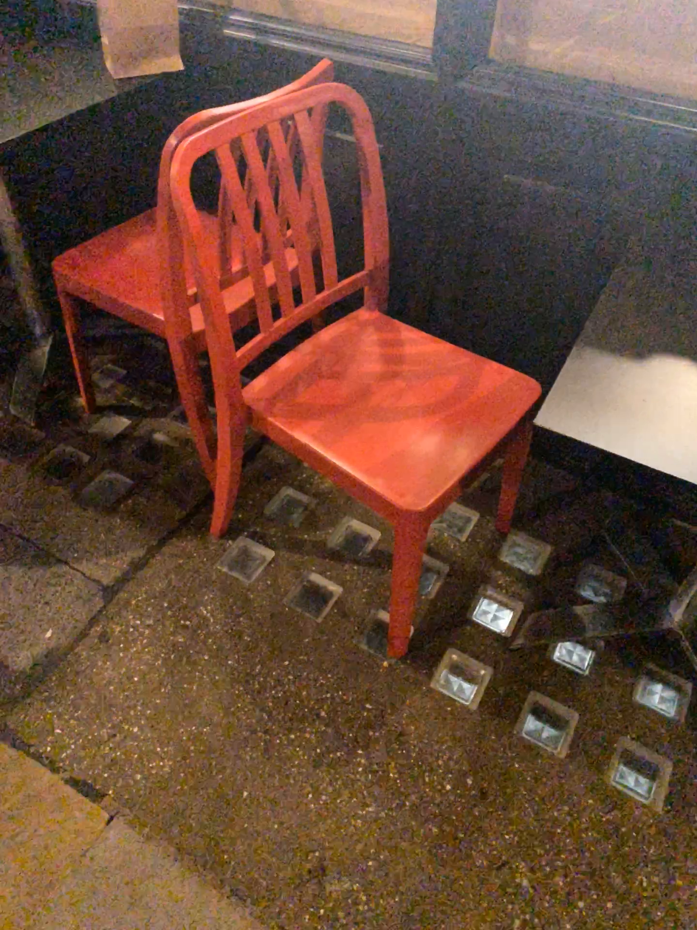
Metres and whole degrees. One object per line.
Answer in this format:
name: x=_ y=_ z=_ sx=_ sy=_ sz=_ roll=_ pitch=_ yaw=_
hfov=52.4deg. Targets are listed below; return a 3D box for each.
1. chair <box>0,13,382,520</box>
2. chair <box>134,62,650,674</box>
chair: x=-0.325 y=-0.444 z=1.611 sx=0.542 sy=0.851 sz=0.544 roll=24 pitch=47 yaw=21
chair: x=0.069 y=-0.184 z=1.357 sx=0.562 sy=0.851 sz=0.574 roll=27 pitch=48 yaw=23
